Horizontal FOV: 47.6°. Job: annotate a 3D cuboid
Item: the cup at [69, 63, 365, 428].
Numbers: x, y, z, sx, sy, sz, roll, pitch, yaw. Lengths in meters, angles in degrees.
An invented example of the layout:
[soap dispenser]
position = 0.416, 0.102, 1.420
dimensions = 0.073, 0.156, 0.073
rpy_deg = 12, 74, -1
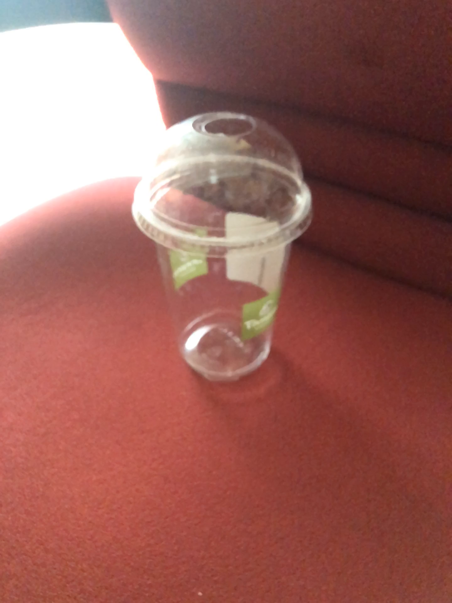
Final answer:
[cup]
position = -0.003, -0.032, 0.280
dimensions = 0.100, 0.150, 0.090
rpy_deg = 28, 47, 30
